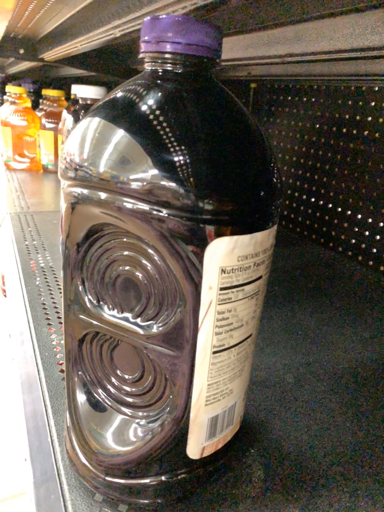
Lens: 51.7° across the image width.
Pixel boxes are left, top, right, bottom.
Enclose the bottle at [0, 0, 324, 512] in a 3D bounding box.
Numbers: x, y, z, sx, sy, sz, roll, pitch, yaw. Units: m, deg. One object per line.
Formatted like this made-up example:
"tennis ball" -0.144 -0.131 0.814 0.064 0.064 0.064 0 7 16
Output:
"bottle" -0.029 0.003 0.258 0.140 0.279 0.130 3 21 -1
